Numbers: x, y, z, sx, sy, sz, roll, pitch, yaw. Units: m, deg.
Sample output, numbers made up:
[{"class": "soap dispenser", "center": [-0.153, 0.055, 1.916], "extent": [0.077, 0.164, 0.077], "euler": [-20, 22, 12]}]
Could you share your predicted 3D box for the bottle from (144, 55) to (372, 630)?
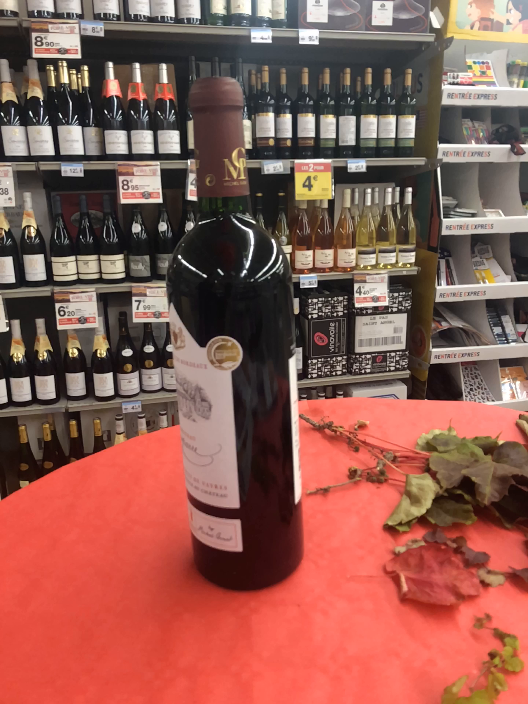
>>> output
[{"class": "bottle", "center": [-0.006, -0.001, 0.345], "extent": [0.090, 0.299, 0.090], "euler": [-1, 17, 0]}]
